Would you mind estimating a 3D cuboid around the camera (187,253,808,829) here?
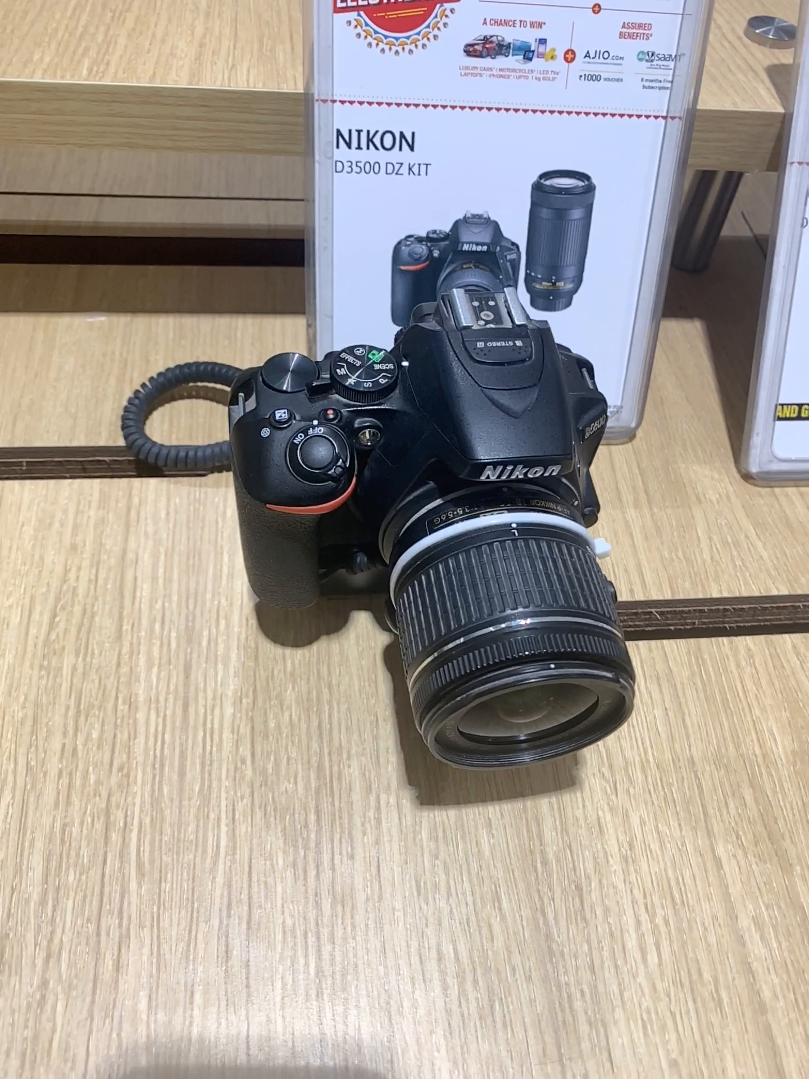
[{"bbox_3d":[0.014,0.000,0.235,0.130,0.100,0.120,-2,54,-8],"label":"camera"}]
